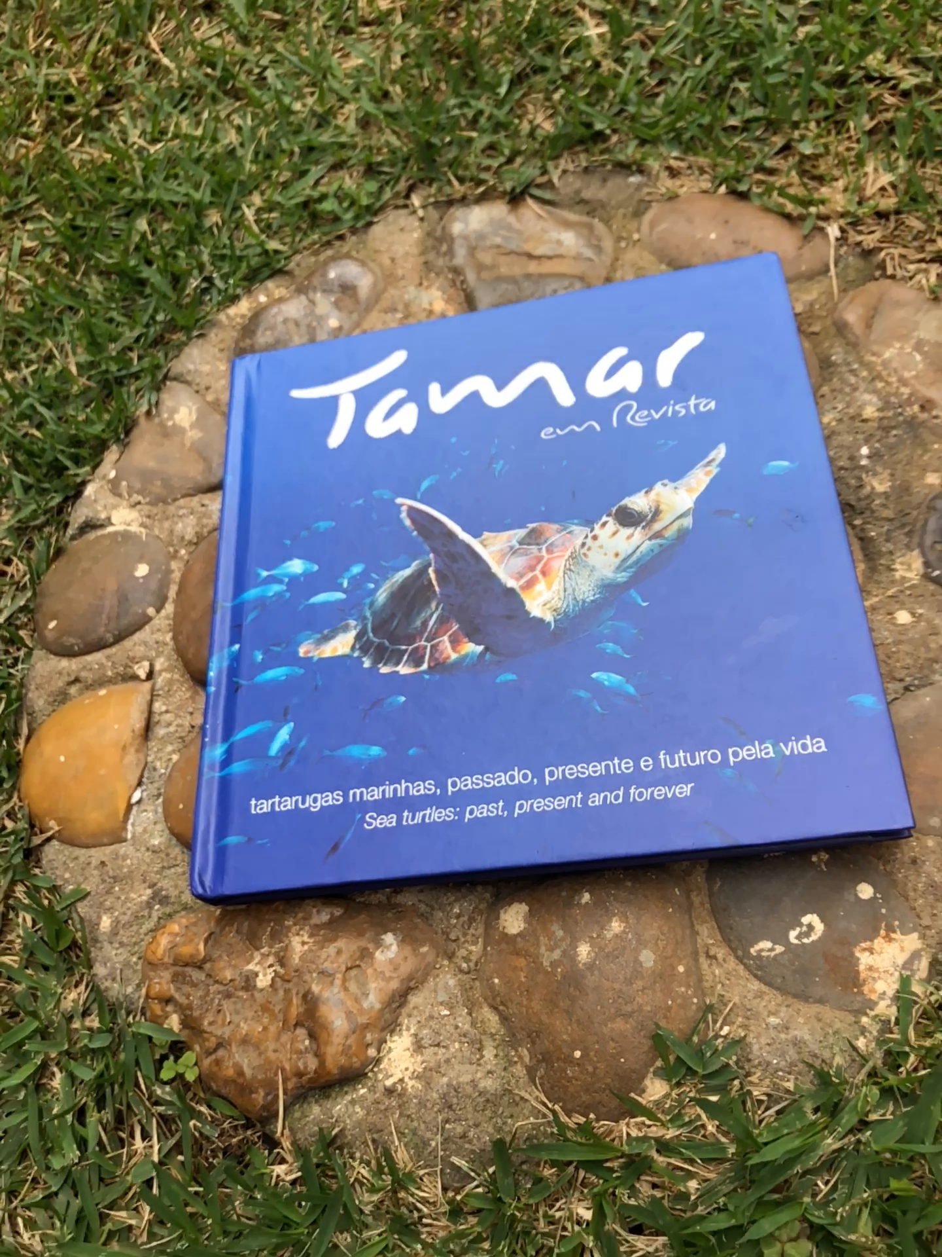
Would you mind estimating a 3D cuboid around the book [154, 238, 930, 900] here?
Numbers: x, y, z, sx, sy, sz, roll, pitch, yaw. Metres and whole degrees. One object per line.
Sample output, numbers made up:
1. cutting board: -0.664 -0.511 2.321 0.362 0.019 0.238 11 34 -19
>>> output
1. book: 0.010 -0.019 0.285 0.179 0.020 0.167 -8 62 12
